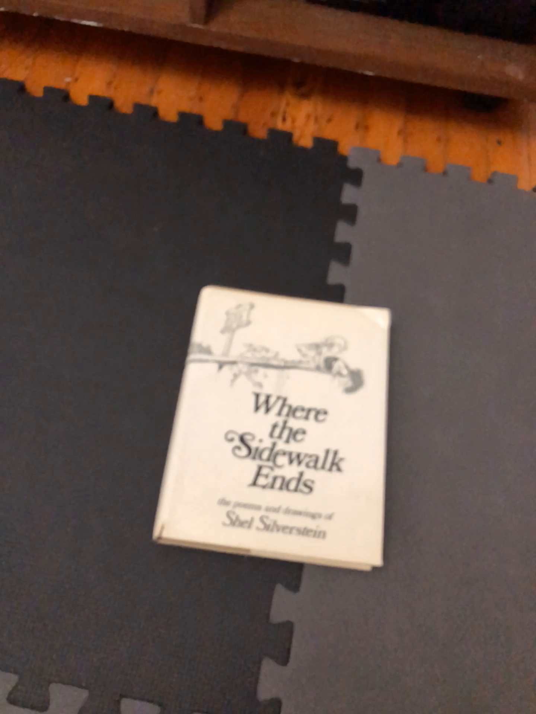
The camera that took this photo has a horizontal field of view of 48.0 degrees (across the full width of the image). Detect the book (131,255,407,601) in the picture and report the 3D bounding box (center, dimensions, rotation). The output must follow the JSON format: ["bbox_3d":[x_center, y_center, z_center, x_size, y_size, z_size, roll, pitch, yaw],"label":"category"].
[{"bbox_3d":[0.015,0.048,0.525,0.200,0.030,0.281,8,63,0],"label":"book"}]
